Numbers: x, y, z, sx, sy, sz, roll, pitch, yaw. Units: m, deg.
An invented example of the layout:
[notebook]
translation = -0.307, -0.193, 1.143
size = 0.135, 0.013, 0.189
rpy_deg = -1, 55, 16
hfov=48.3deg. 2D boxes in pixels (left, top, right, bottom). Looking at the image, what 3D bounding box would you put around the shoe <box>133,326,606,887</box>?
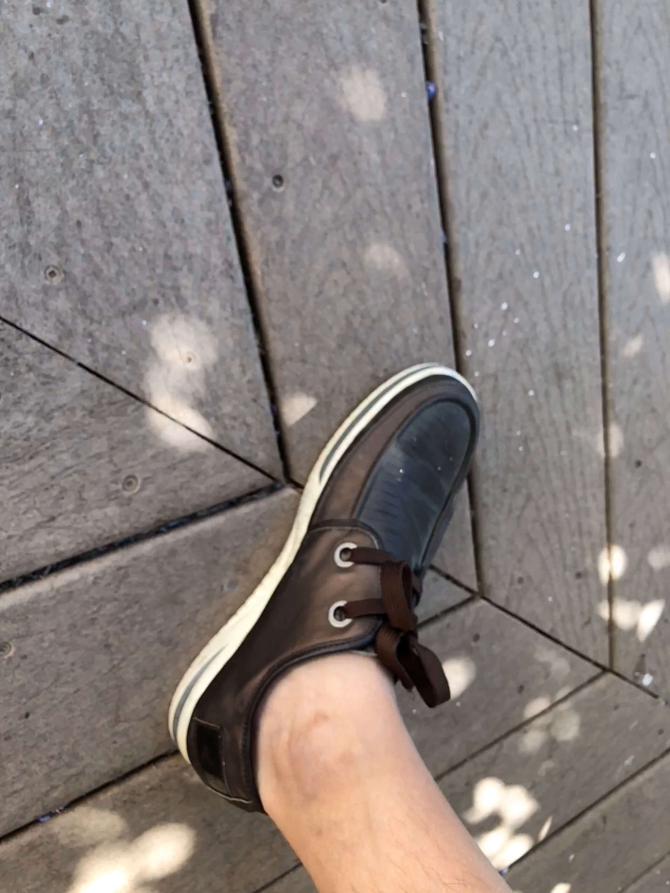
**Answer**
[shoe]
translation = 0.023, 0.082, 0.436
size = 0.107, 0.096, 0.289
rpy_deg = 39, 80, -33
